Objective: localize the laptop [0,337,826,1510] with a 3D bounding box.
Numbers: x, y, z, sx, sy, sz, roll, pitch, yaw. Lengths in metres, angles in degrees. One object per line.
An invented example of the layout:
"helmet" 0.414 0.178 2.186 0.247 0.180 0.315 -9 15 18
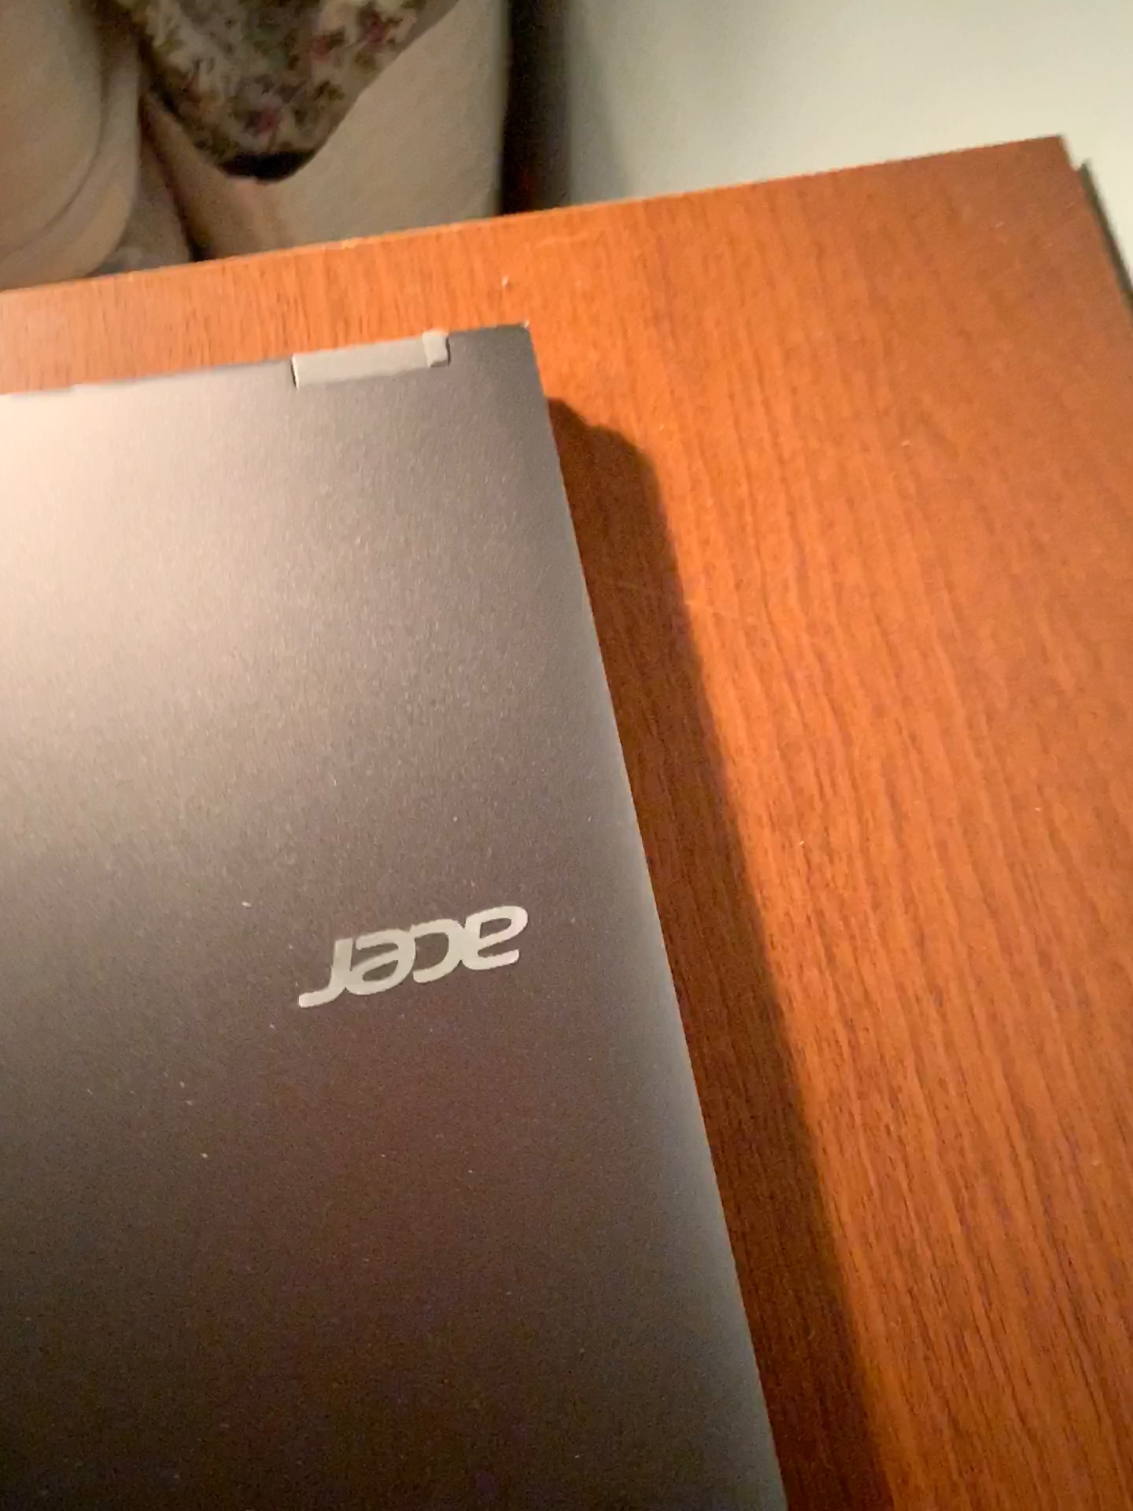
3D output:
"laptop" -0.129 0.054 0.193 0.299 0.002 0.232 -10 77 -6
